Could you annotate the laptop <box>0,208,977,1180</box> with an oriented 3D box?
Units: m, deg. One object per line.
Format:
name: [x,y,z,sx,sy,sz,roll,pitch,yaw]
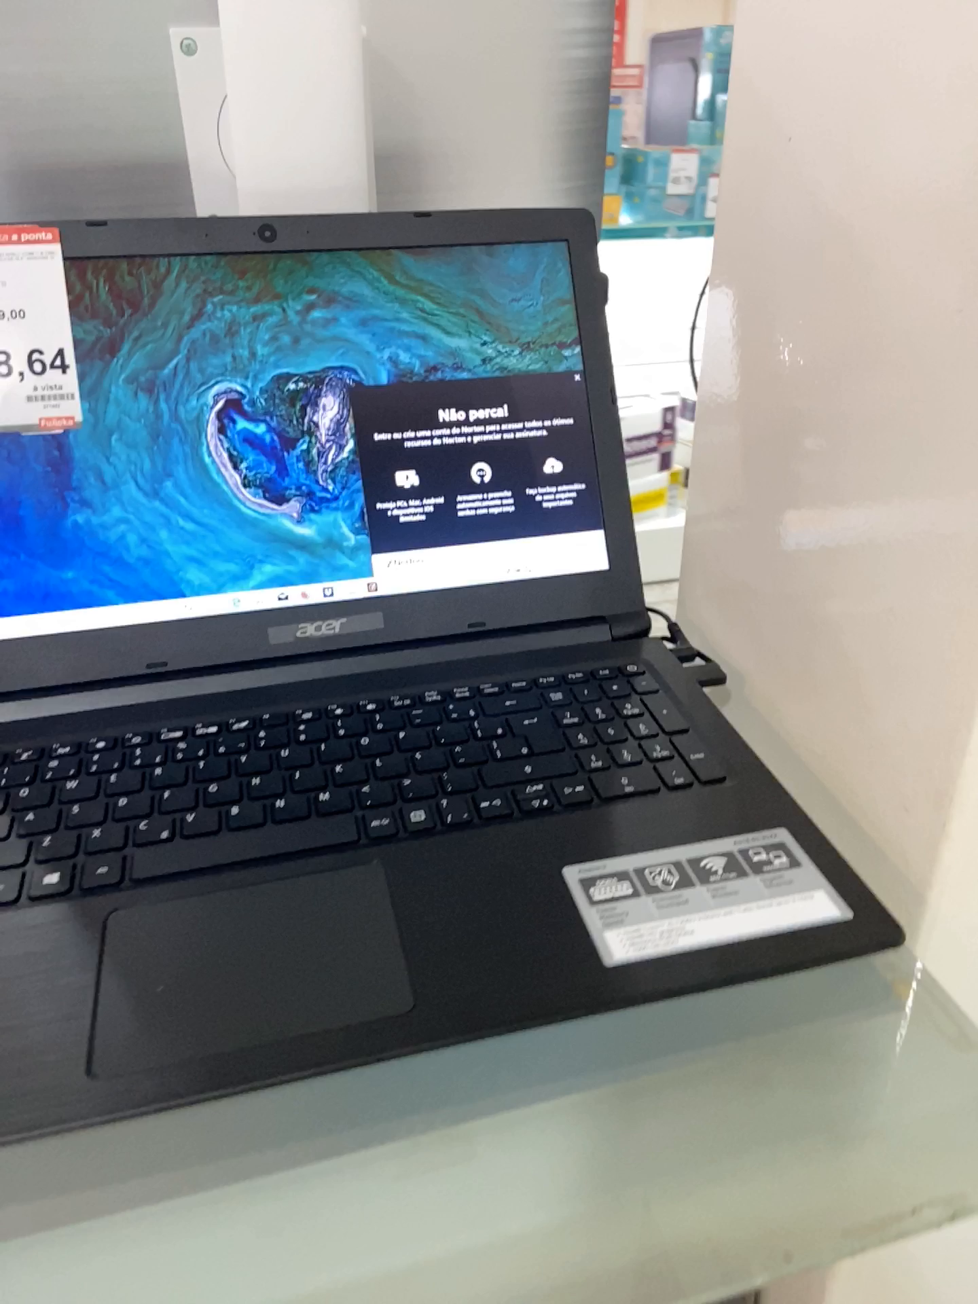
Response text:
laptop: [-0.076,-0.054,0.435,0.369,0.205,0.377,-7,30,-12]
